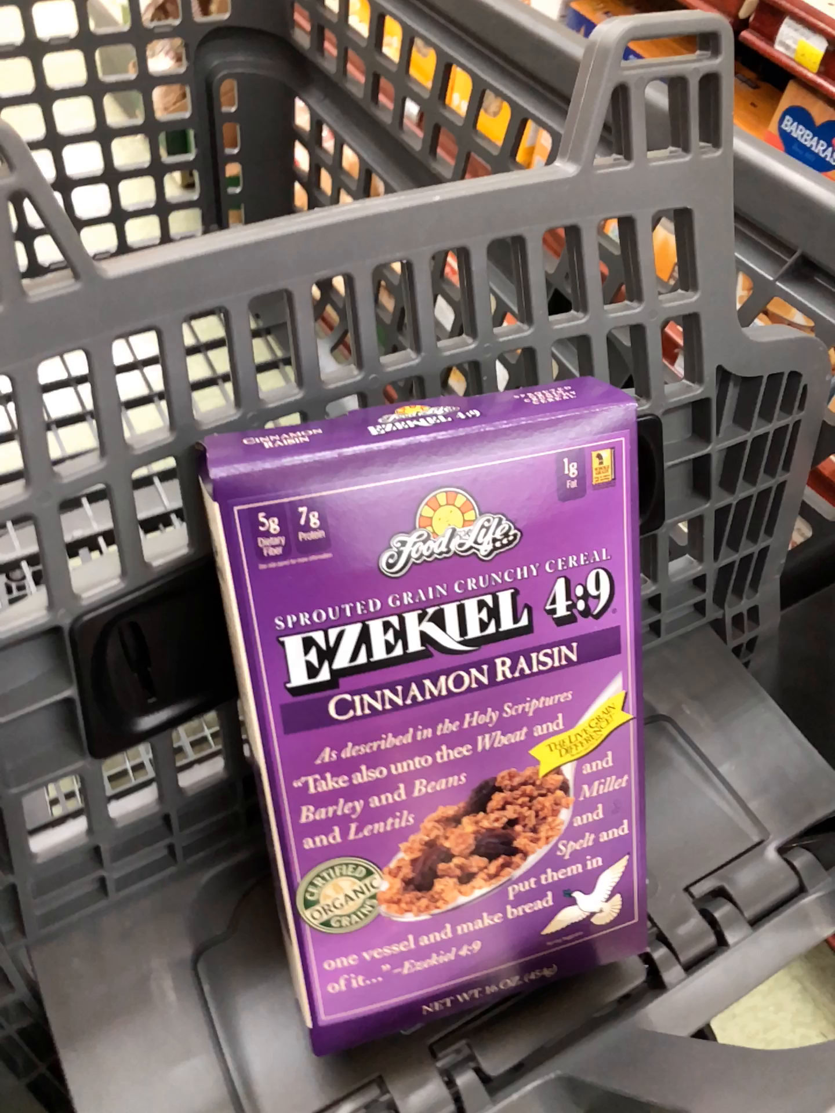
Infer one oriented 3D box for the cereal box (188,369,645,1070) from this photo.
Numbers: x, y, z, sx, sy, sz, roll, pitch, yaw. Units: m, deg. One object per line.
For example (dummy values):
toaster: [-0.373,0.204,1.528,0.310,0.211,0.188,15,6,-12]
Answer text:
cereal box: [0.009,0.064,0.371,0.150,0.250,0.060,-11,21,-16]
